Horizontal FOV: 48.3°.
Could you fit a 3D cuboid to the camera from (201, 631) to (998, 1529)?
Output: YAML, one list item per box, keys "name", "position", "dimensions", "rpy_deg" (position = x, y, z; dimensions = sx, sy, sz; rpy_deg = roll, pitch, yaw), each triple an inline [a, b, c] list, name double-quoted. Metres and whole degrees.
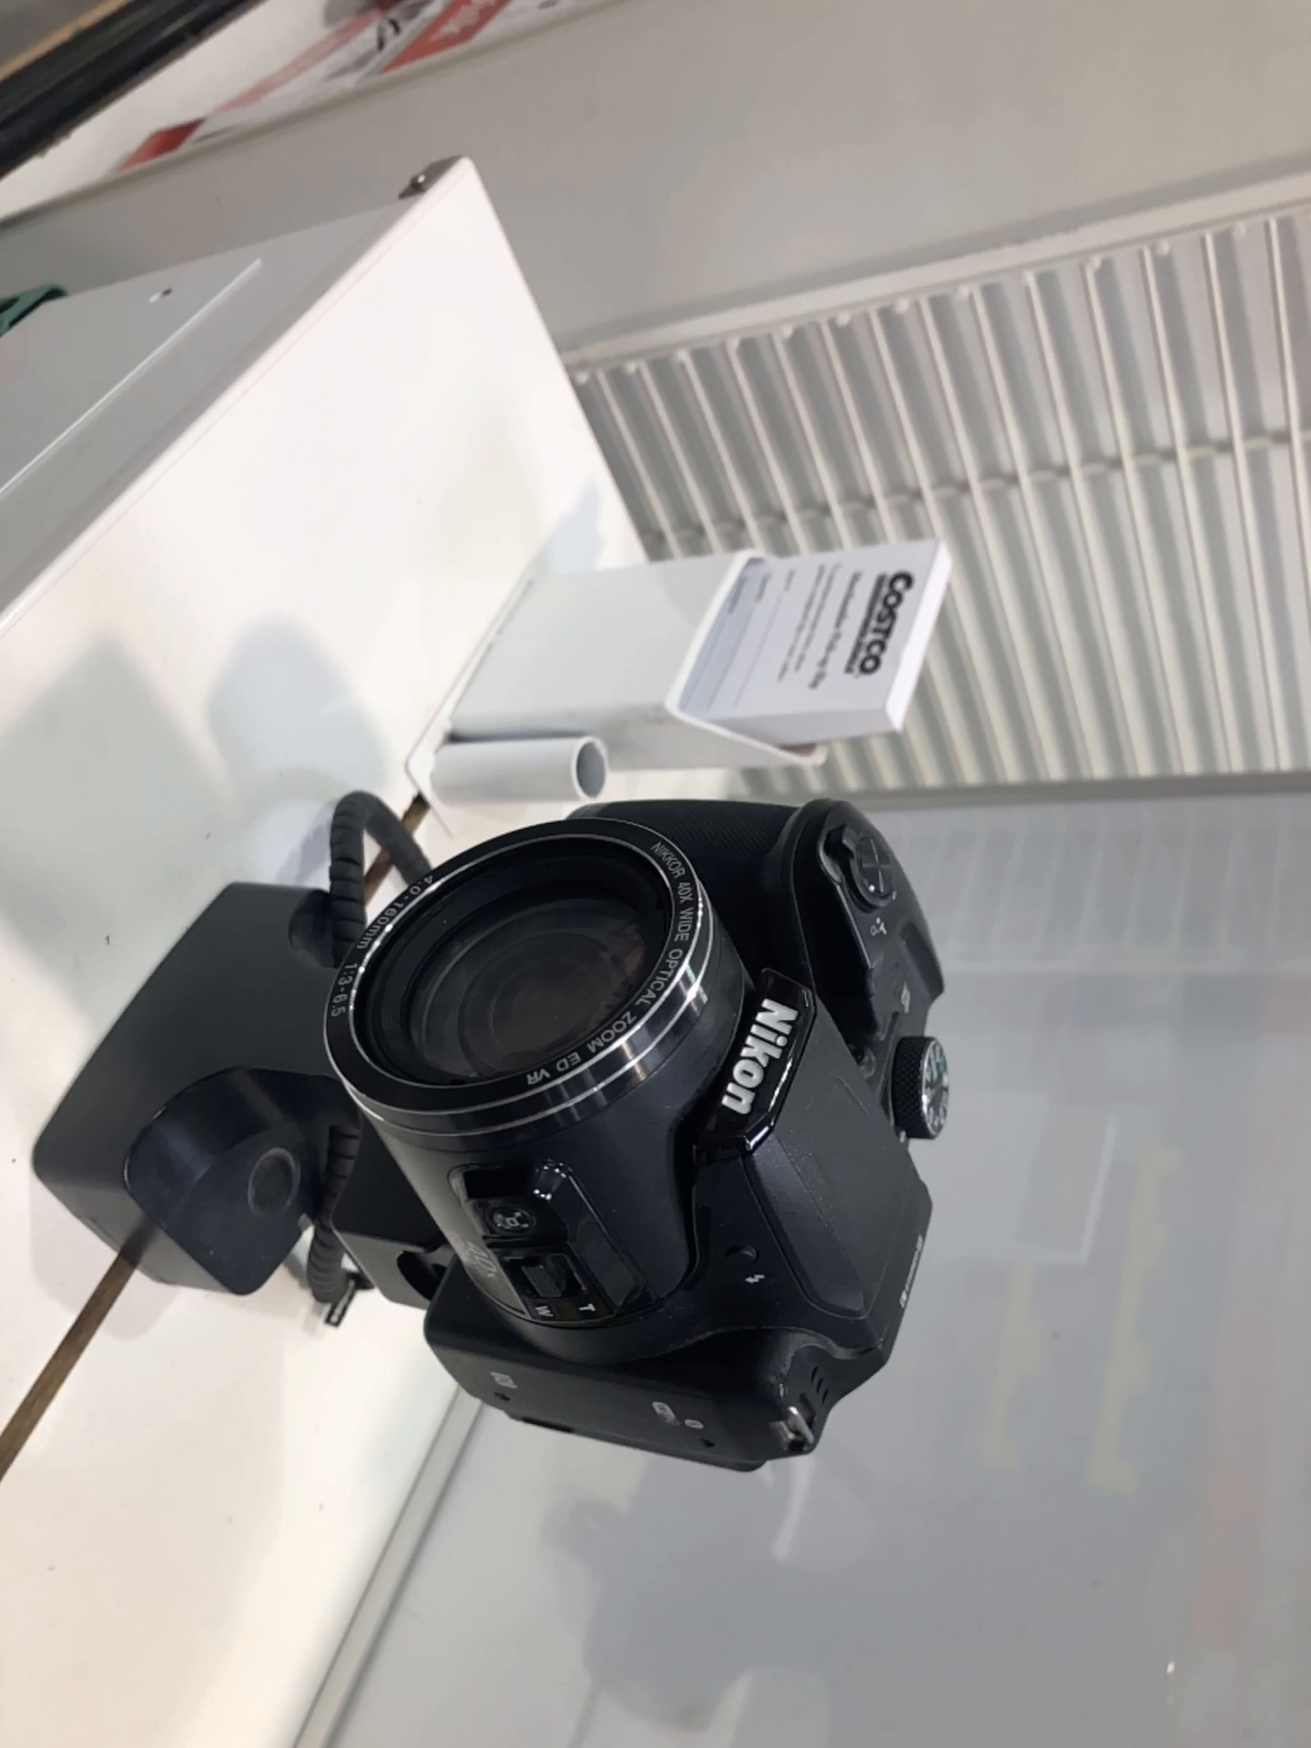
- name: "camera"
  position: [0.003, 0.035, 0.270]
  dimensions: [0.101, 0.079, 0.116]
  rpy_deg: [62, 39, -40]
